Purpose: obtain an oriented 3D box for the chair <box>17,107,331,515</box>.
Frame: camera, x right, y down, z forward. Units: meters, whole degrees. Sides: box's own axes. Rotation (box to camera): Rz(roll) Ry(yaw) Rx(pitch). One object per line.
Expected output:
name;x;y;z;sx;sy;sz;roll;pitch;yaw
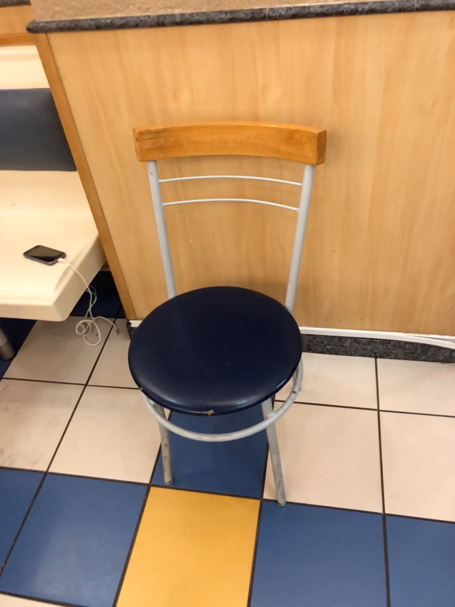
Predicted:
chair;-0.014;0.031;1.143;0.440;0.745;0.524;4;44;12
